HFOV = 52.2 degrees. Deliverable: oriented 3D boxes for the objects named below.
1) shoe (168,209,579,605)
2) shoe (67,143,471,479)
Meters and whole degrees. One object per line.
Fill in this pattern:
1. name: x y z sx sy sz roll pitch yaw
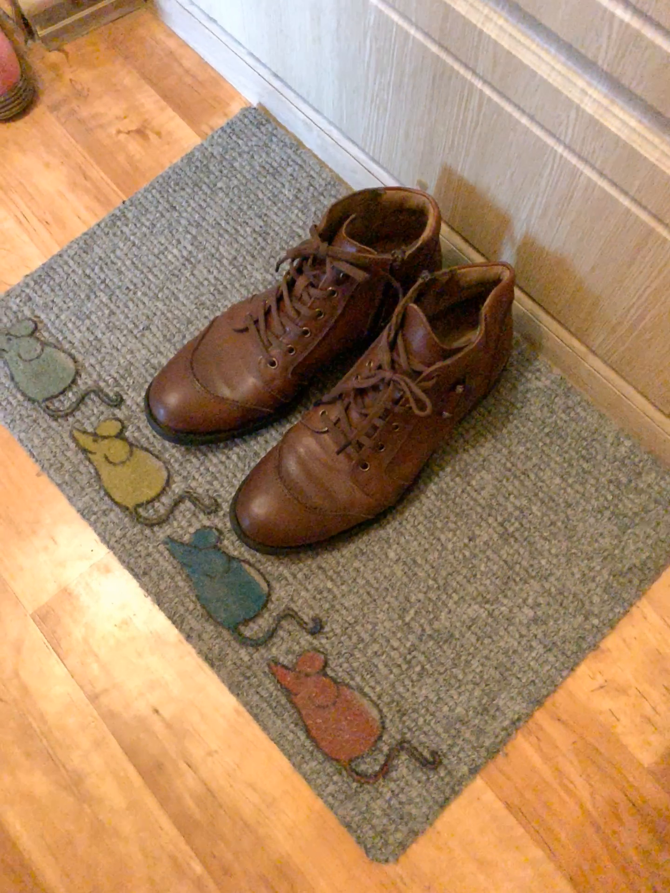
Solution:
1. shoe: 0.030 -0.022 0.515 0.270 0.140 0.110 -42 77 -12
2. shoe: -0.045 -0.100 0.543 0.260 0.140 0.110 -28 74 -8
